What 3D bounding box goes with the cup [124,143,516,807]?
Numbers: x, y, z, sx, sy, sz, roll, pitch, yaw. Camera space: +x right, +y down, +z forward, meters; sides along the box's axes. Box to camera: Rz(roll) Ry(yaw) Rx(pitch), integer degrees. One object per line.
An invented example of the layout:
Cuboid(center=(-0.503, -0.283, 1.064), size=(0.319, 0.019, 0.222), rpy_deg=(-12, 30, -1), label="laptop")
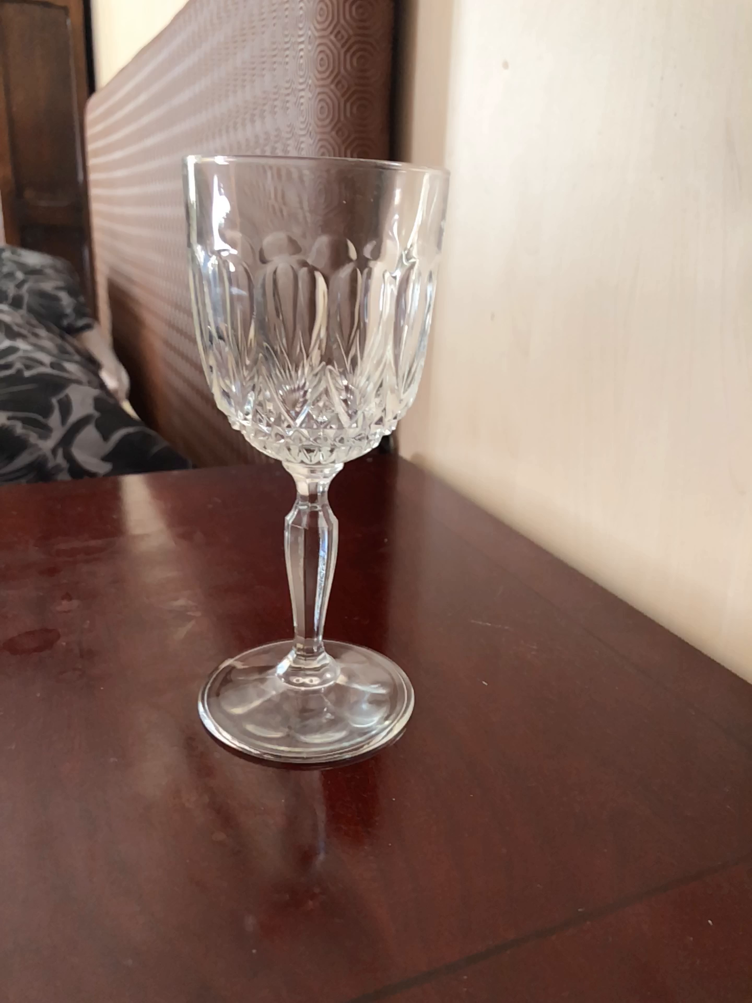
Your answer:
Cuboid(center=(-0.026, -0.014, 0.273), size=(0.092, 0.178, 0.096), rpy_deg=(2, 18, -1), label="cup")
